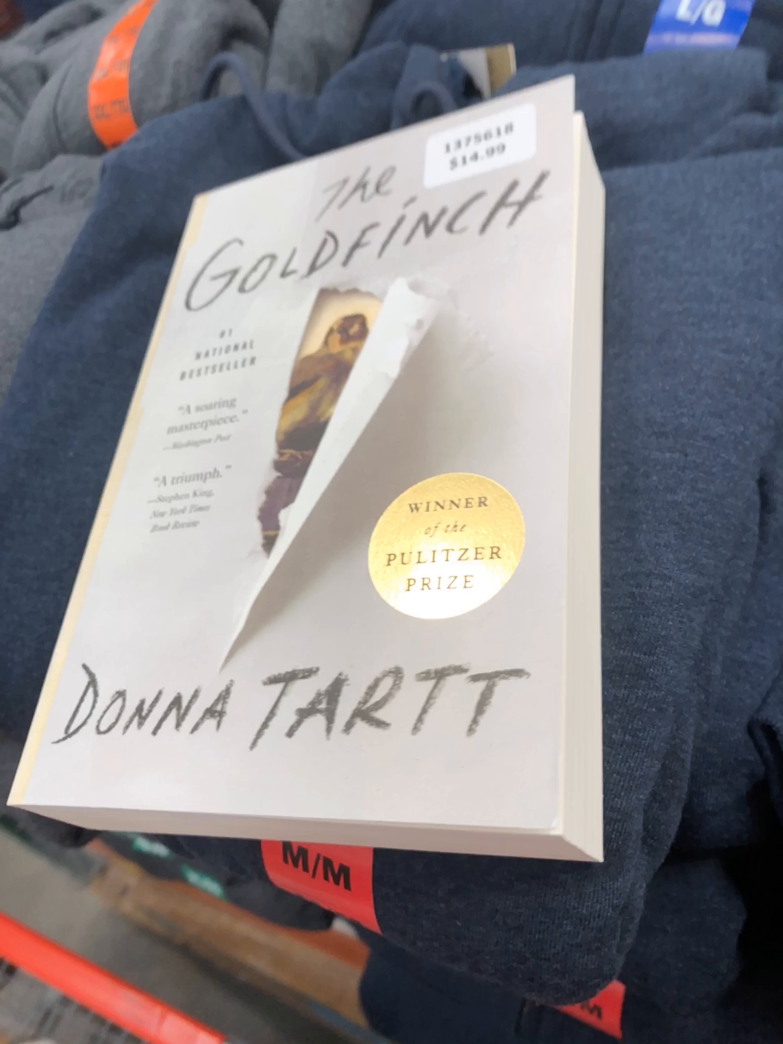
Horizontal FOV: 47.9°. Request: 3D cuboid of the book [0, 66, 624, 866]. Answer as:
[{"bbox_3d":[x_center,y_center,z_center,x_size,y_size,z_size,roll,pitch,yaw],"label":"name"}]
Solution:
[{"bbox_3d":[-0.016,-0.023,0.263,0.158,0.041,0.222,-6,59,24],"label":"book"}]
